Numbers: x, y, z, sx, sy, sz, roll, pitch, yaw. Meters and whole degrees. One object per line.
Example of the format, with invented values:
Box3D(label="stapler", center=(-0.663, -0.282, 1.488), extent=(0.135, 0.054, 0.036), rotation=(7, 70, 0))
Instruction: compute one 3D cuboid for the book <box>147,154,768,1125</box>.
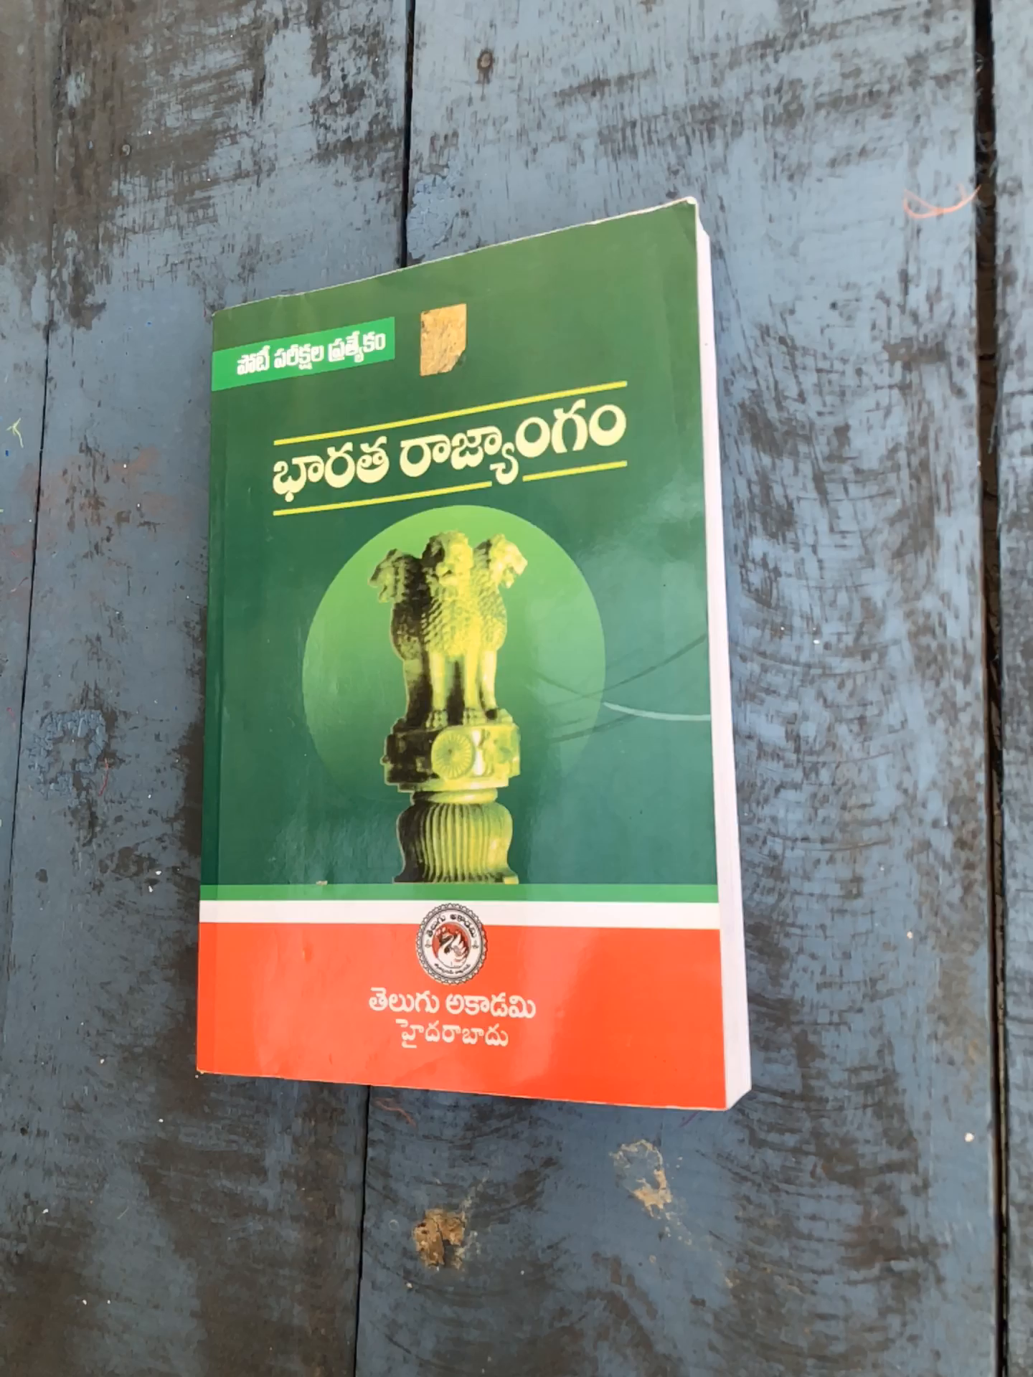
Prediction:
Box3D(label="book", center=(-0.020, -0.011, 0.314), extent=(0.160, 0.040, 0.230), rotation=(-4, 81, 22))
